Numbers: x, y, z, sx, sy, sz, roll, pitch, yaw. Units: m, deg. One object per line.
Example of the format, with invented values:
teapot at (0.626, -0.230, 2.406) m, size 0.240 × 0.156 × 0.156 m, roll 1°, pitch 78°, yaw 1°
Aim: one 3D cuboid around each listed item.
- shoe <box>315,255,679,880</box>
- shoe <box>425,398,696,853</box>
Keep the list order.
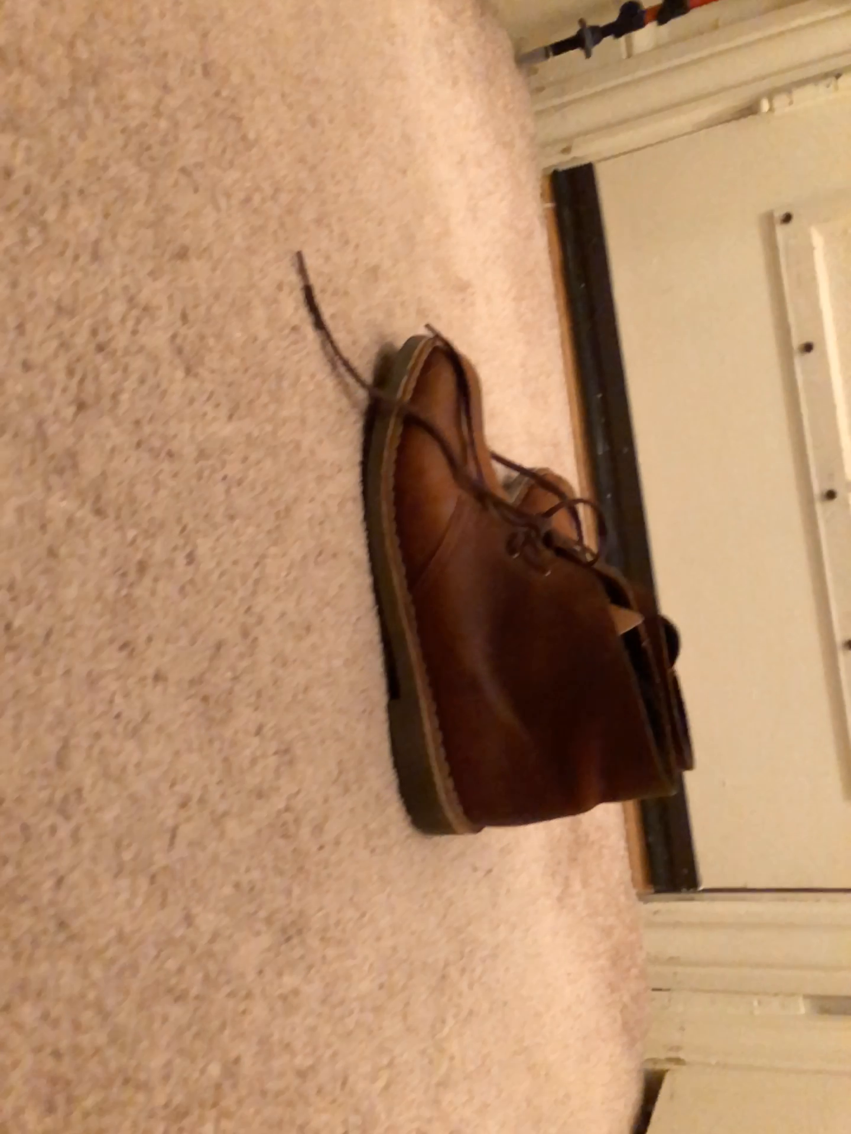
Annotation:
shoe at (0.044, 0.006, 0.529) m, size 0.111 × 0.138 × 0.303 m, roll -2°, pitch 85°, yaw -68°
shoe at (0.107, 0.034, 0.668) m, size 0.110 × 0.138 × 0.304 m, roll 60°, pitch 31°, yaw -43°
